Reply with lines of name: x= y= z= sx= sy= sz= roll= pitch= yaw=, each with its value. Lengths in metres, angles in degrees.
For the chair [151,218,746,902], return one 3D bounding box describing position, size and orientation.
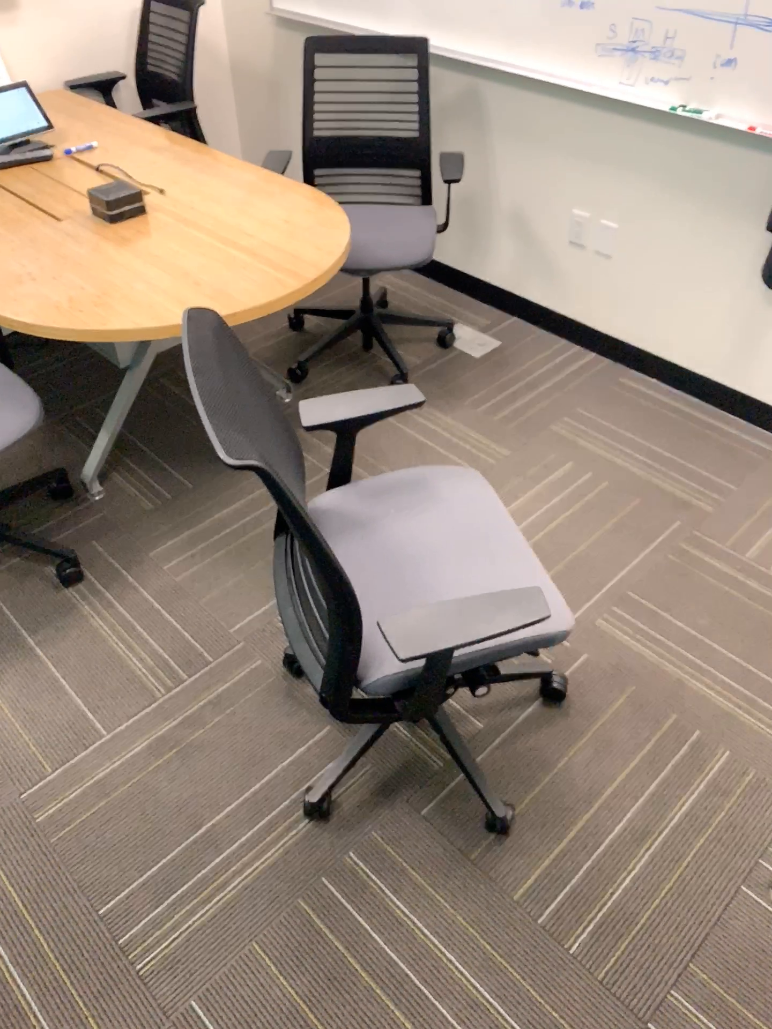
chair: x=0.034 y=0.102 z=1.495 sx=0.690 sy=0.994 sz=0.654 roll=-11 pitch=44 yaw=-11
